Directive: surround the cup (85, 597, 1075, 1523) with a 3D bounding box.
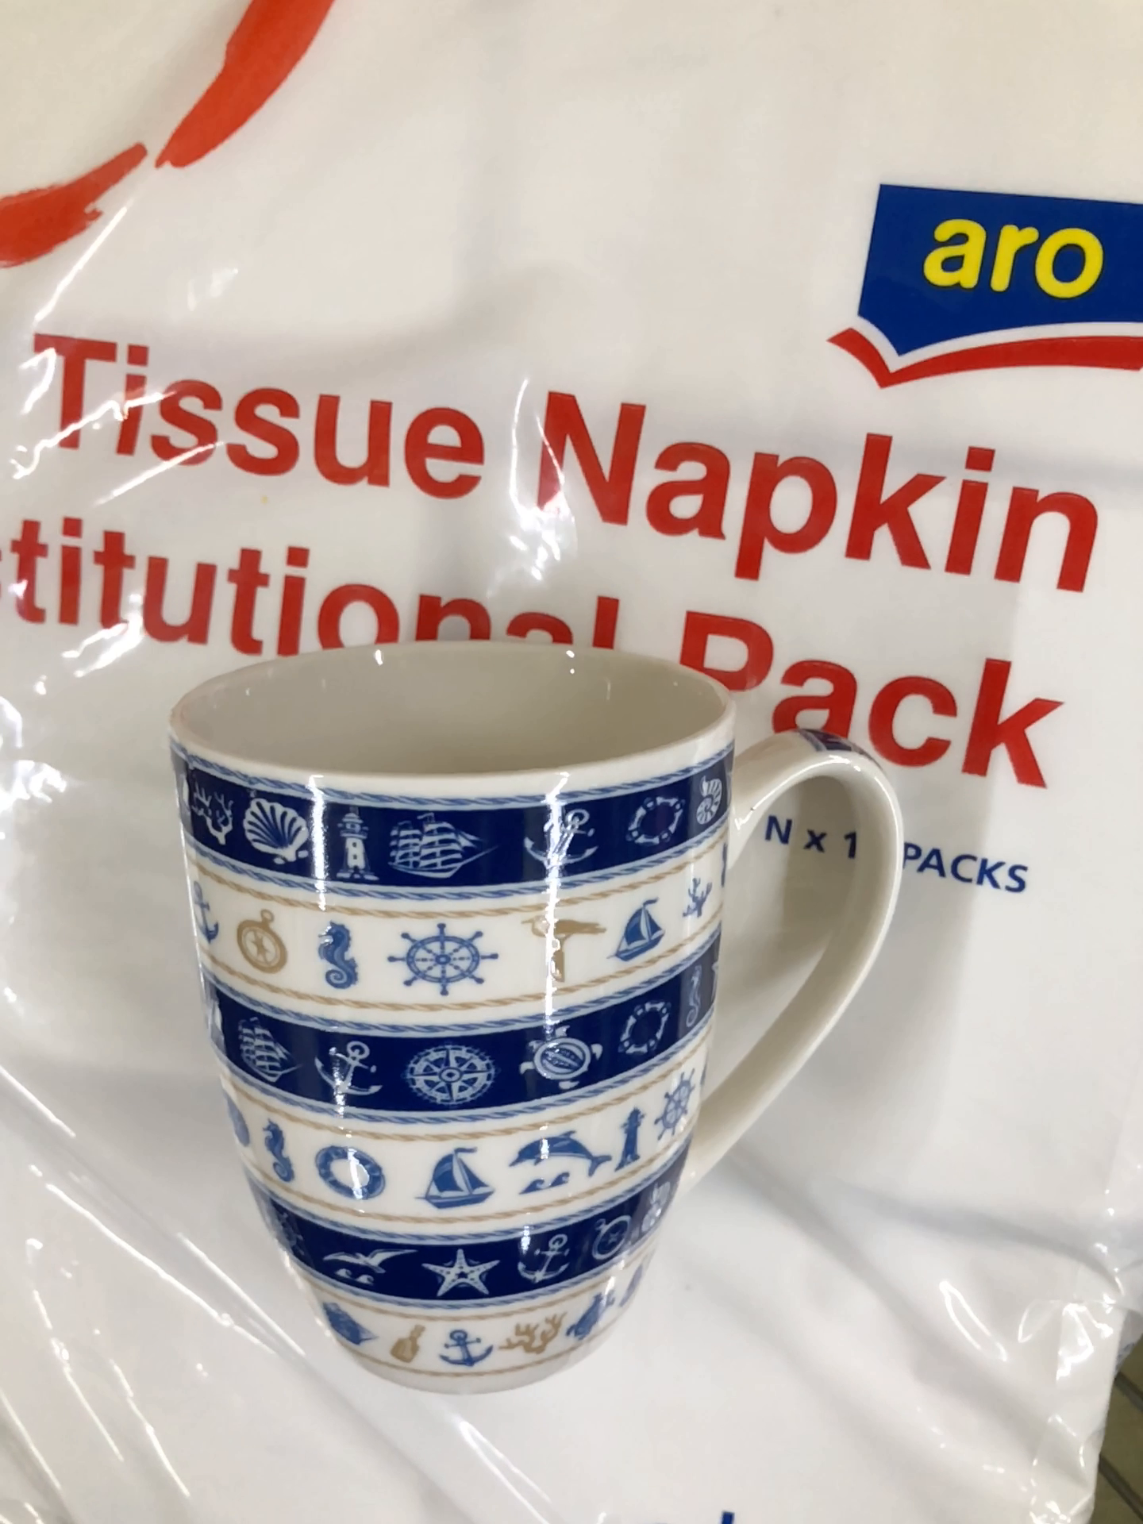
[{"bbox_3d":[0.000,0.040,0.204,0.120,0.080,0.110,-11,111,-30],"label":"cup"}]
